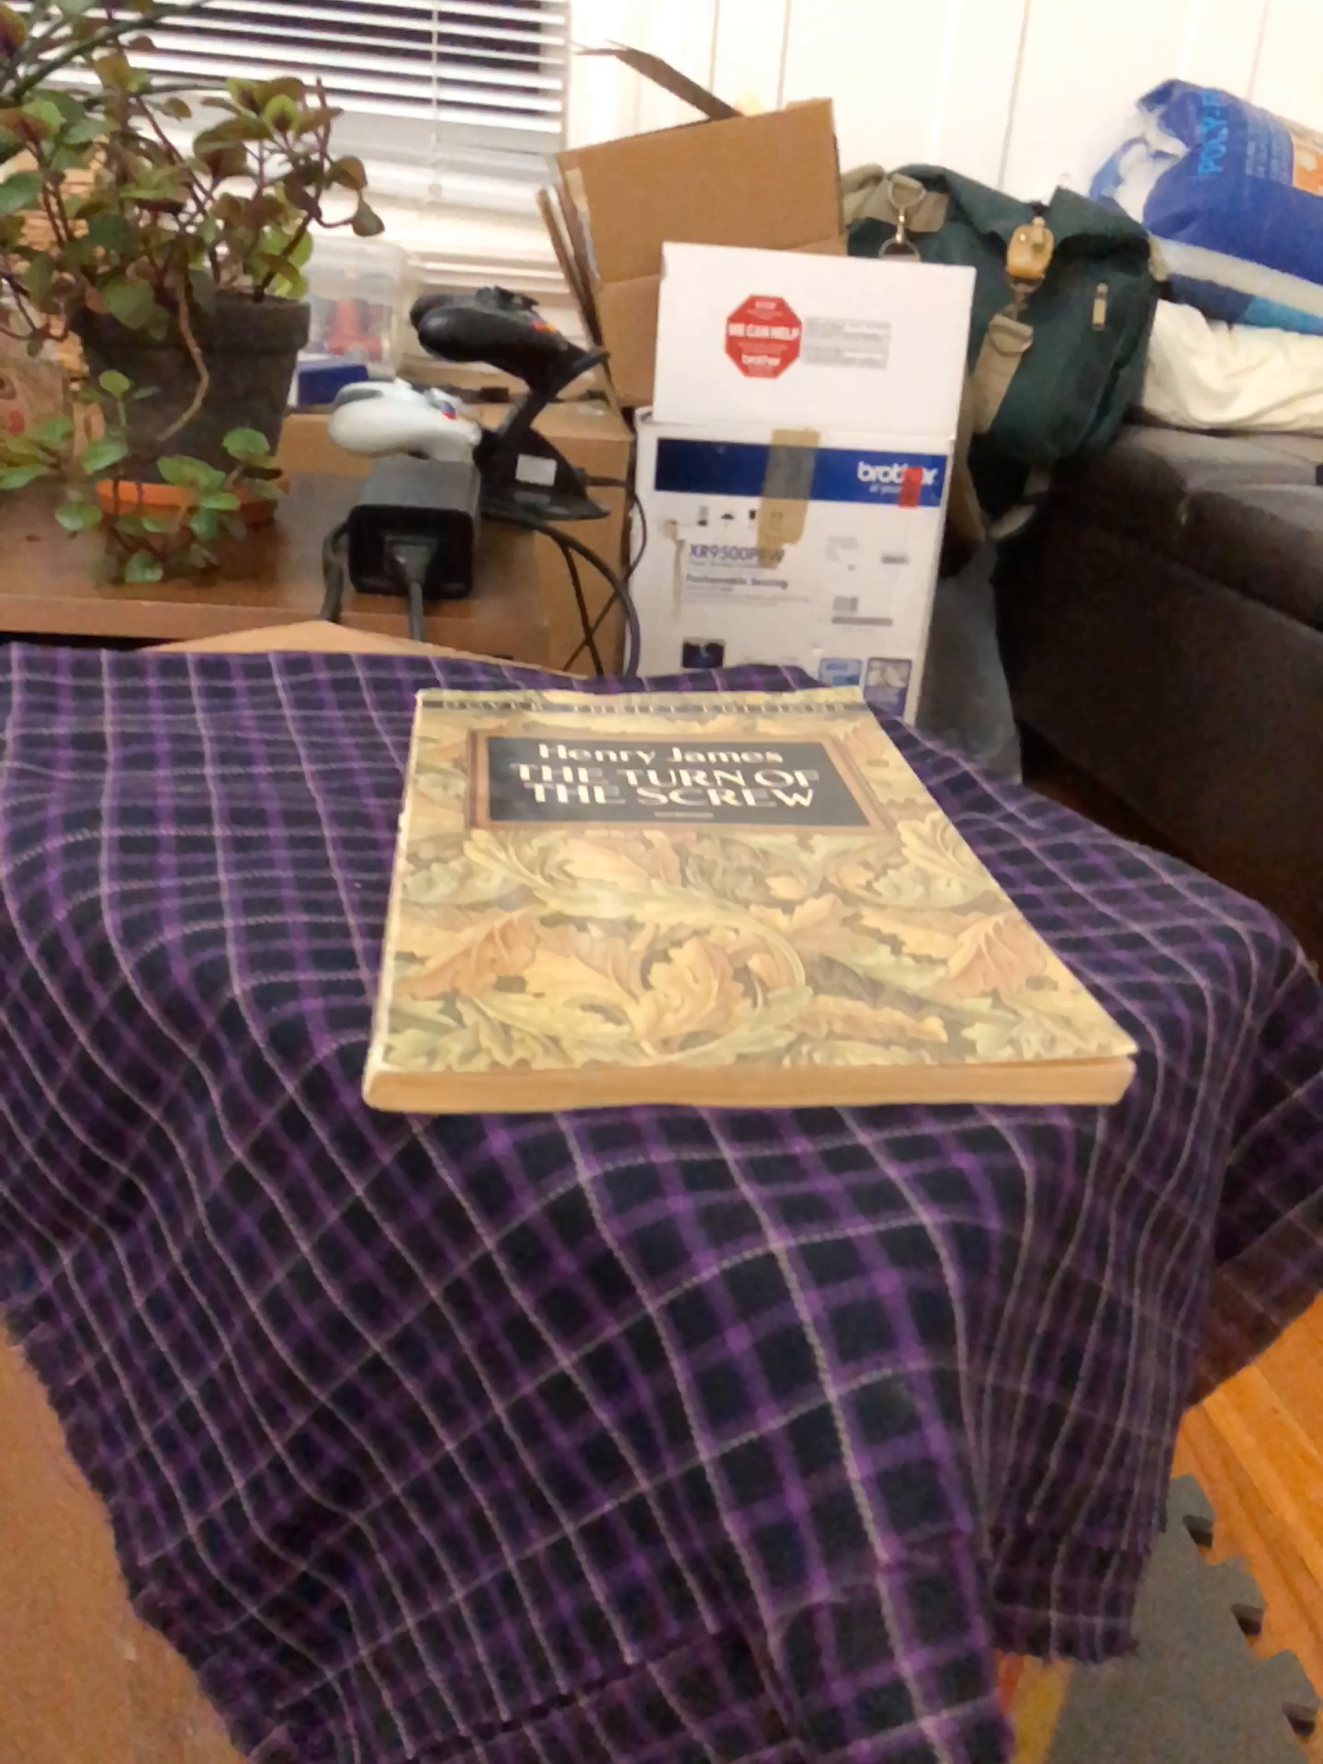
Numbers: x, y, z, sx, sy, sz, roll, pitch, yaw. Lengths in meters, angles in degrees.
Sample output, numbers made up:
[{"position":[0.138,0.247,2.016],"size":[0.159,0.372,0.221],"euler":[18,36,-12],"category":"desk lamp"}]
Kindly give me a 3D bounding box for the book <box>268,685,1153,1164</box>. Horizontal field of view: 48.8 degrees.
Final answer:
[{"position":[-0.003,-0.005,0.329],"size":[0.140,0.010,0.221],"euler":[1,24,-8],"category":"book"}]
